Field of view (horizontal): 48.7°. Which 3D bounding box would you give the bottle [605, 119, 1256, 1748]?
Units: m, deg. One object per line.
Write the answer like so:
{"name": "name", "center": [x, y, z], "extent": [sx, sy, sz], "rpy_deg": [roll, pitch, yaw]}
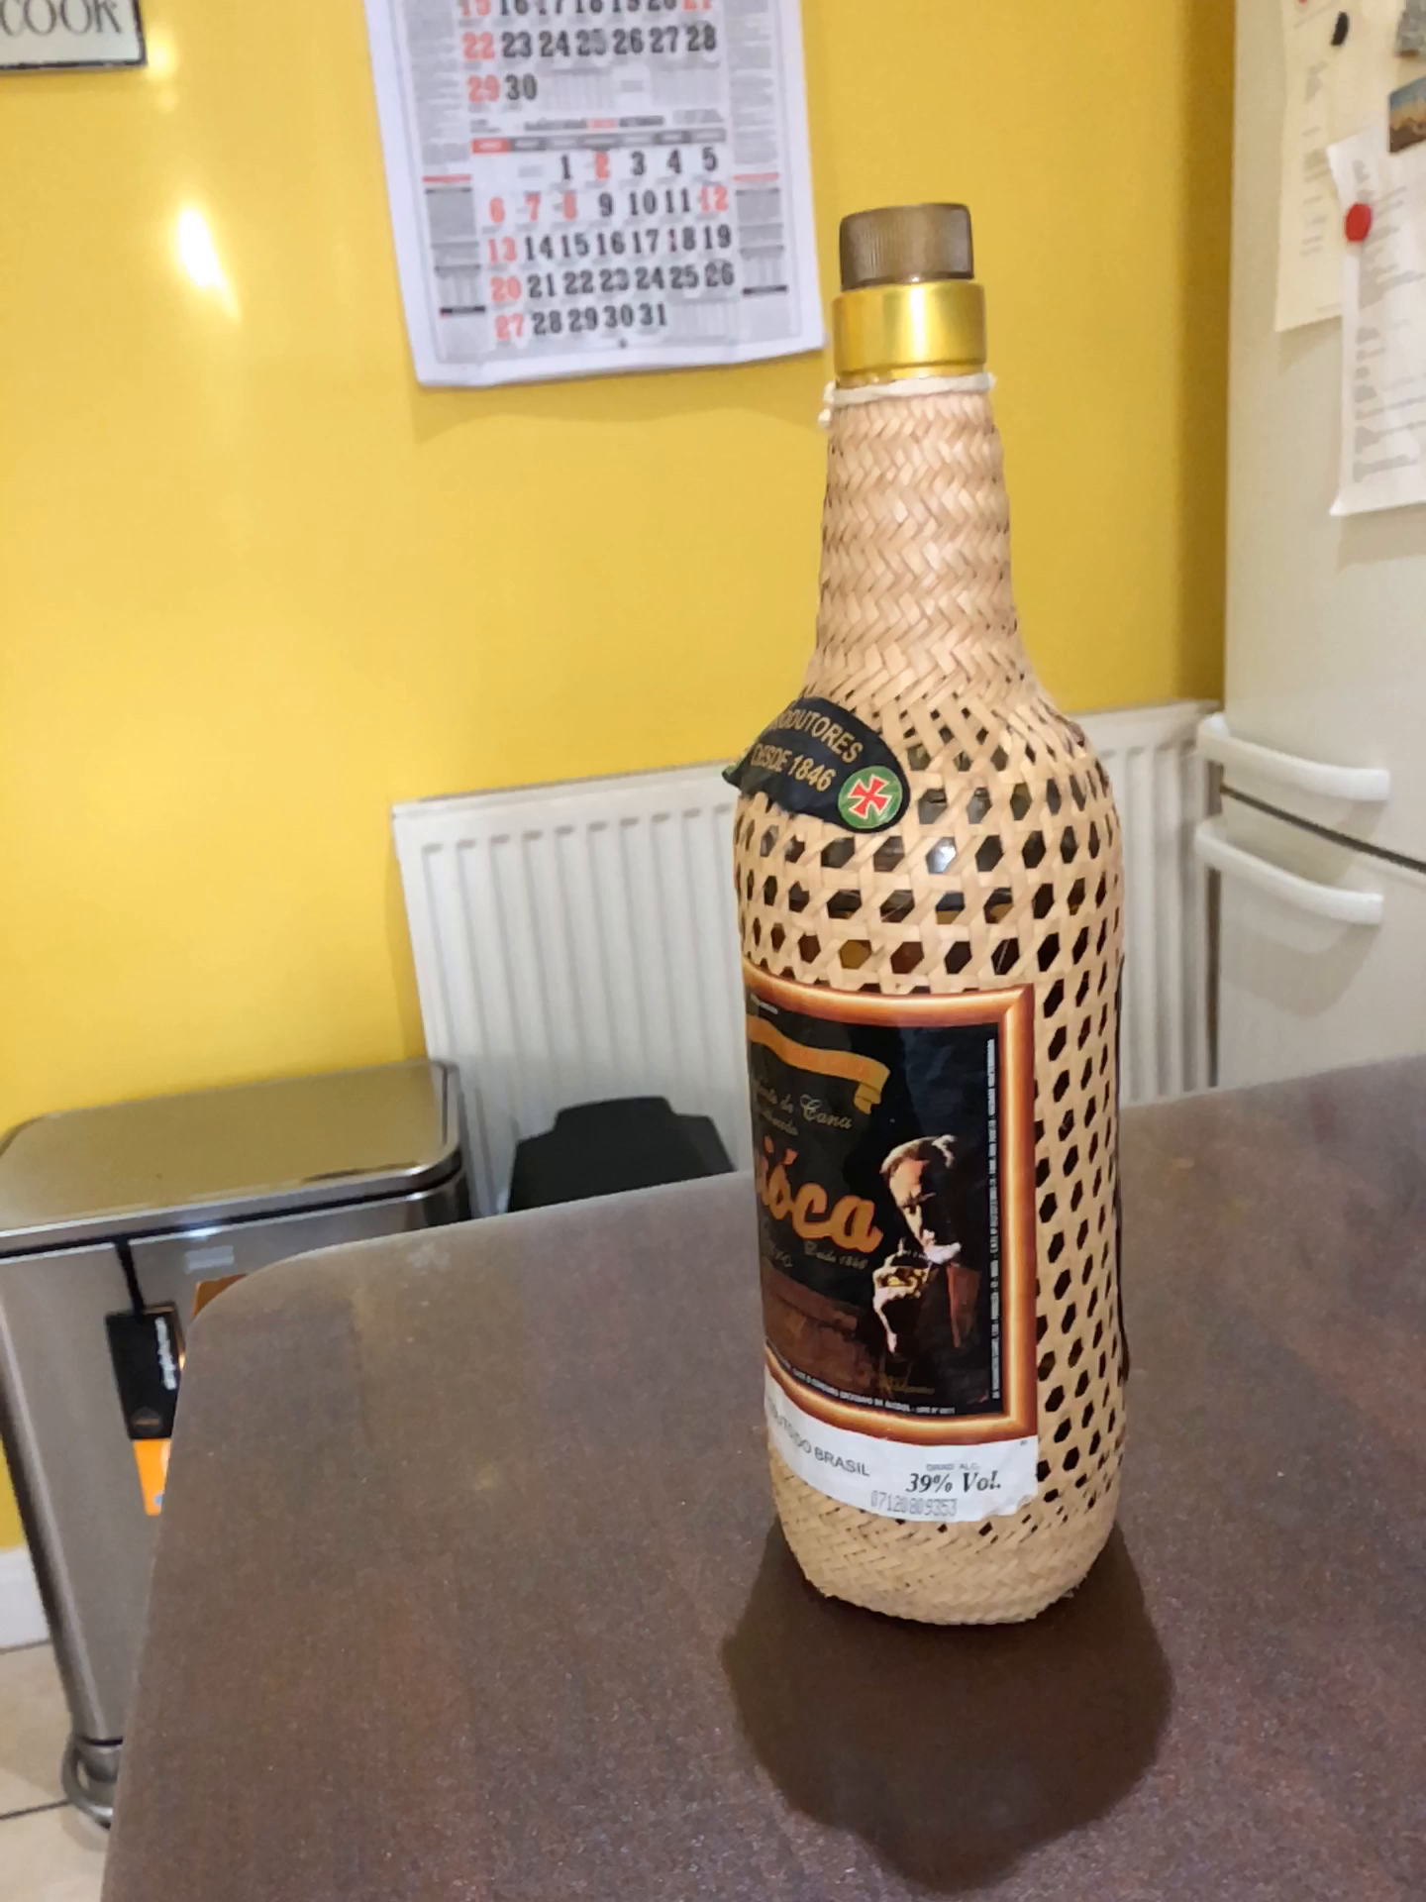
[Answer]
{"name": "bottle", "center": [0.055, -0.001, 0.369], "extent": [0.090, 0.328, 0.100], "rpy_deg": [-14, 18, -28]}
